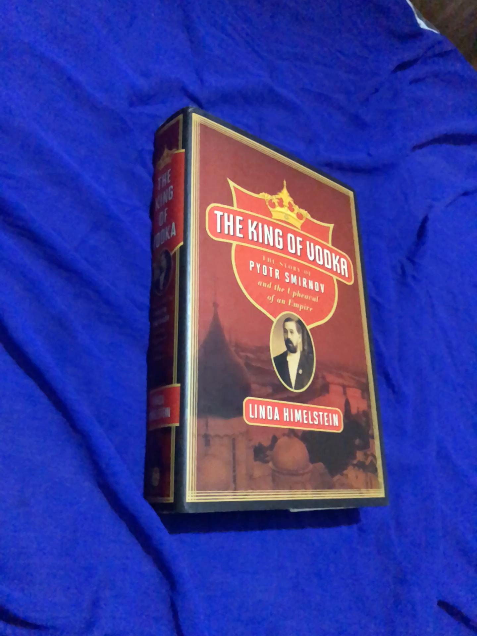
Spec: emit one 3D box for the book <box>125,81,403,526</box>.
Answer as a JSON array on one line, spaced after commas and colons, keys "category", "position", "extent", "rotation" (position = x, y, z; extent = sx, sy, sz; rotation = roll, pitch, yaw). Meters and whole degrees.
[{"category": "book", "position": [0.018, -0.003, 0.349], "extent": [0.171, 0.050, 0.250], "rotation": [12, 66, -37]}]
